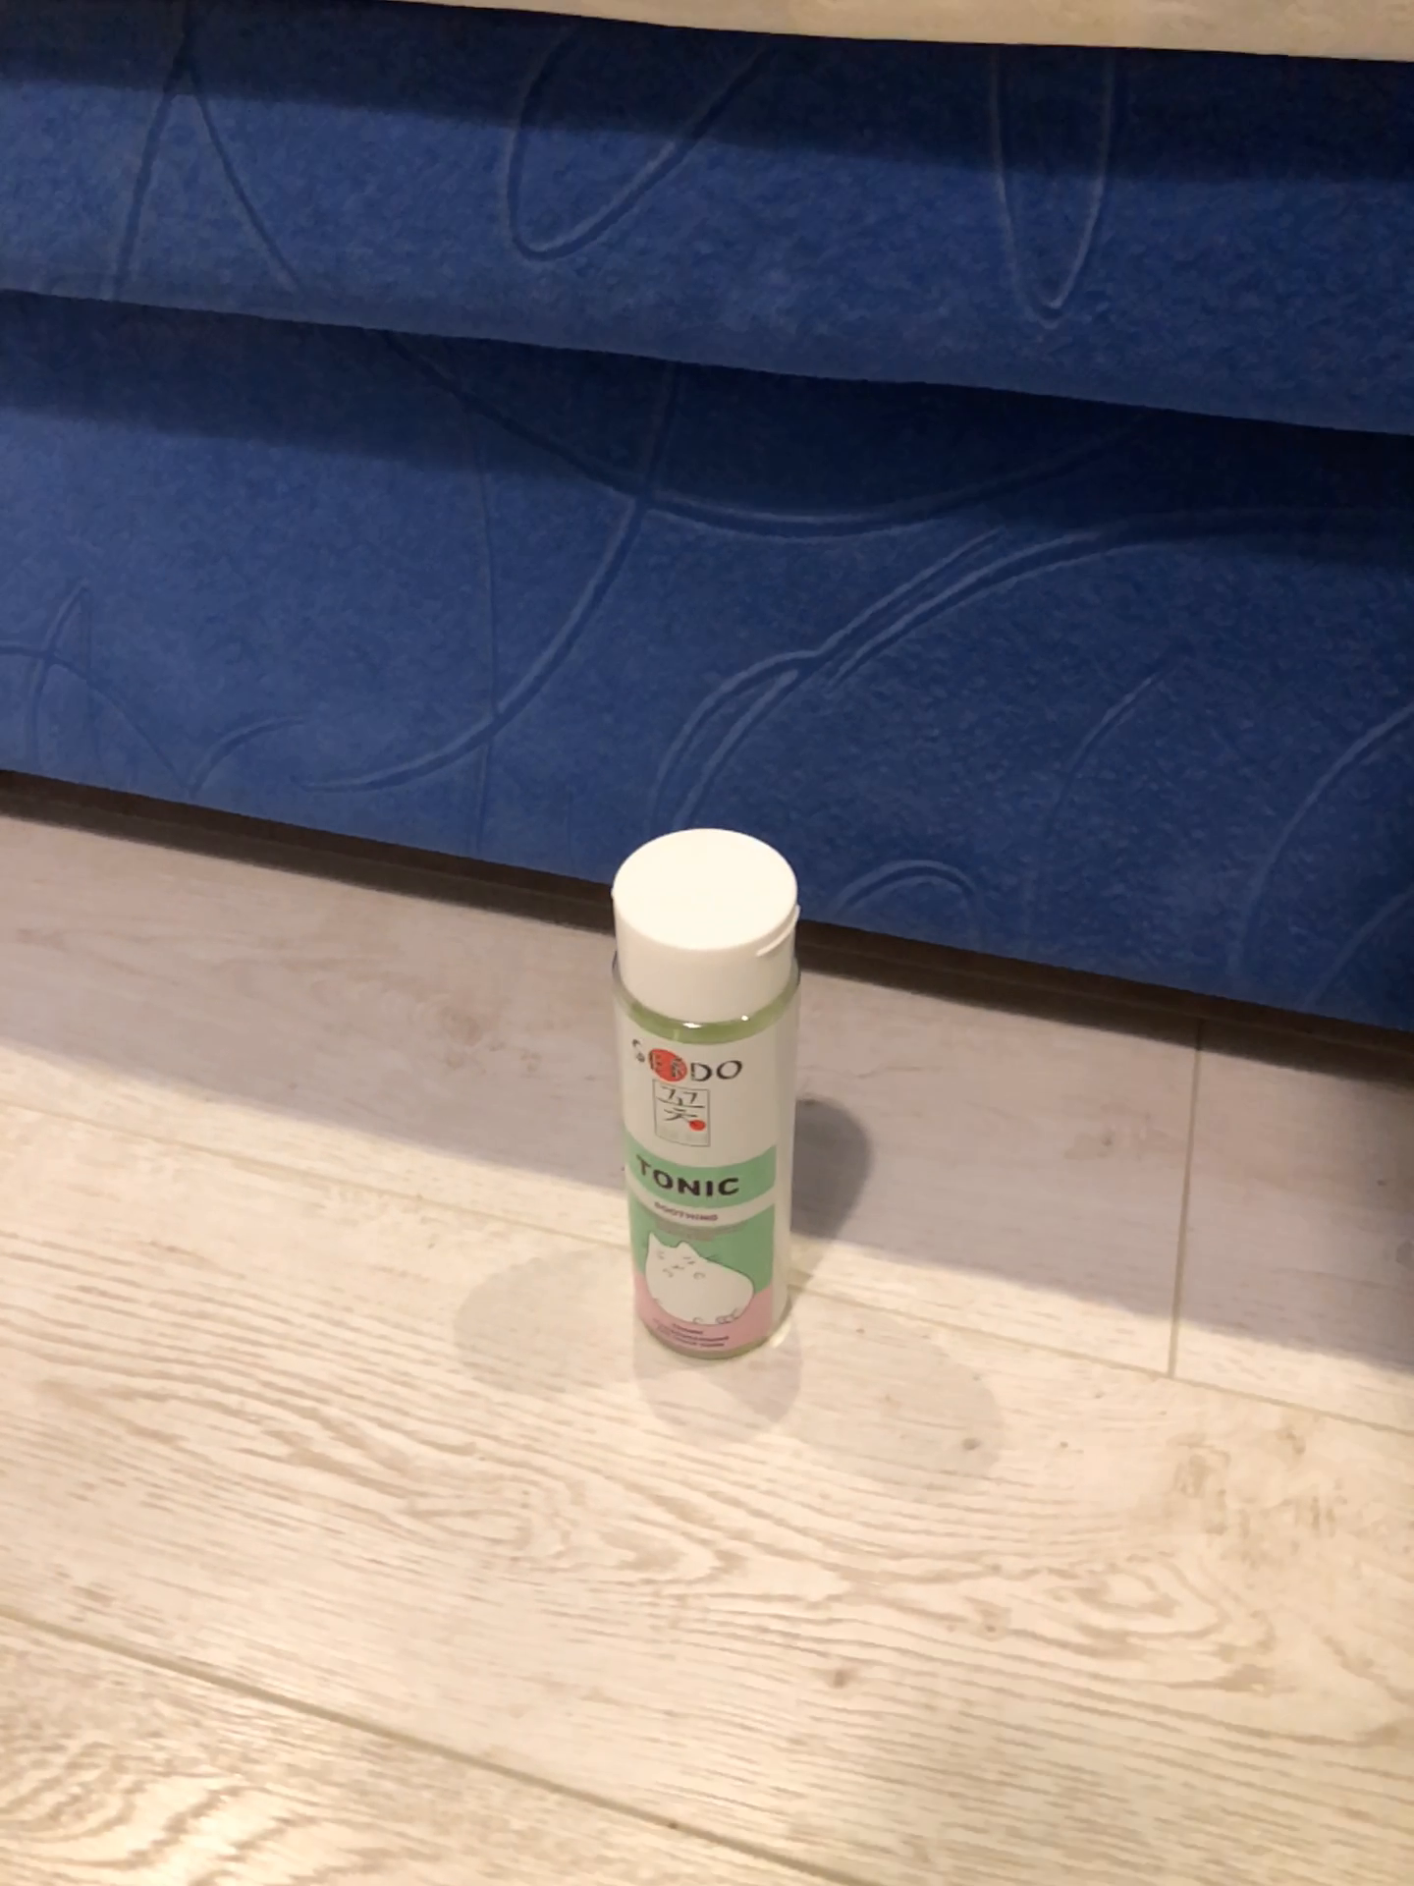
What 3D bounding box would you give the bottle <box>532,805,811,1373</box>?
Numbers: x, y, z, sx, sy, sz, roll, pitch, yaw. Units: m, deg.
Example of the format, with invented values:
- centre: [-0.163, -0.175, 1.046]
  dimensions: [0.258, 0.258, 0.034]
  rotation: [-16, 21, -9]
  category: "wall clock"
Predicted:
- centre: [-0.006, 0.045, 0.425]
  dimensions: [0.057, 0.160, 0.053]
  rotation: [-1, 42, 1]
  category: "bottle"
